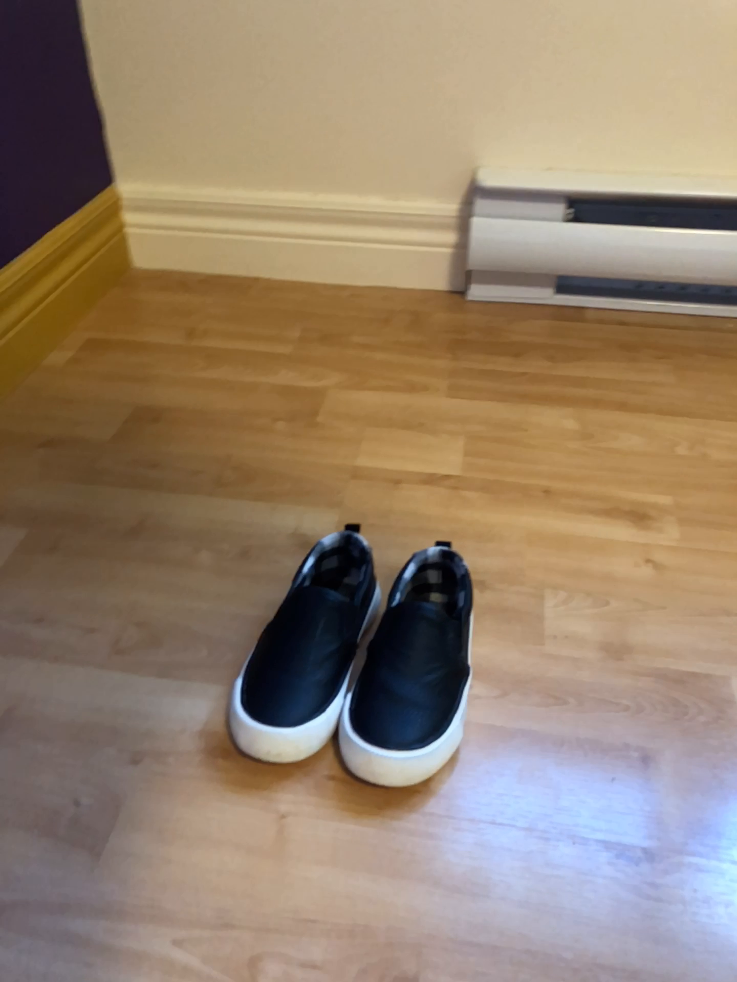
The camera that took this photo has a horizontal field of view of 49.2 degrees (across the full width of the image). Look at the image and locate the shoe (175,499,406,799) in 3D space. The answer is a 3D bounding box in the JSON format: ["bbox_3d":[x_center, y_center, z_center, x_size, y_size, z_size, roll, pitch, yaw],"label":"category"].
[{"bbox_3d":[-0.039,0.090,0.514,0.080,0.060,0.181,11,39,14],"label":"shoe"}]

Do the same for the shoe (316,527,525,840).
[{"bbox_3d":[0.039,0.109,0.506,0.080,0.060,0.181,12,39,15],"label":"shoe"}]
